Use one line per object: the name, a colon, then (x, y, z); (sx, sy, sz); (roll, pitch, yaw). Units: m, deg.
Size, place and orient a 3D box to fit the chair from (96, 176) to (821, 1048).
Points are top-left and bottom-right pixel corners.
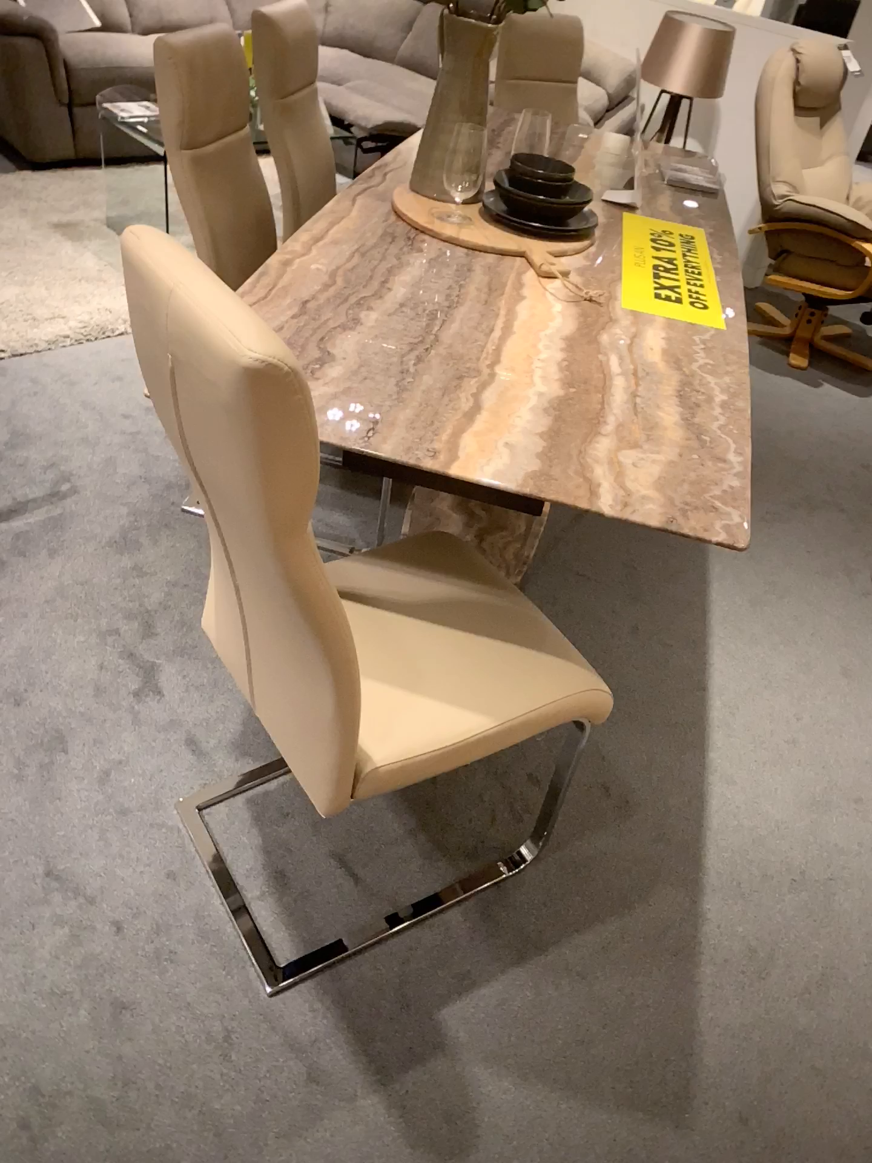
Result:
chair: (-0.056, 0.037, 1.238); (0.585, 0.982, 0.530); (-16, 46, -31)
